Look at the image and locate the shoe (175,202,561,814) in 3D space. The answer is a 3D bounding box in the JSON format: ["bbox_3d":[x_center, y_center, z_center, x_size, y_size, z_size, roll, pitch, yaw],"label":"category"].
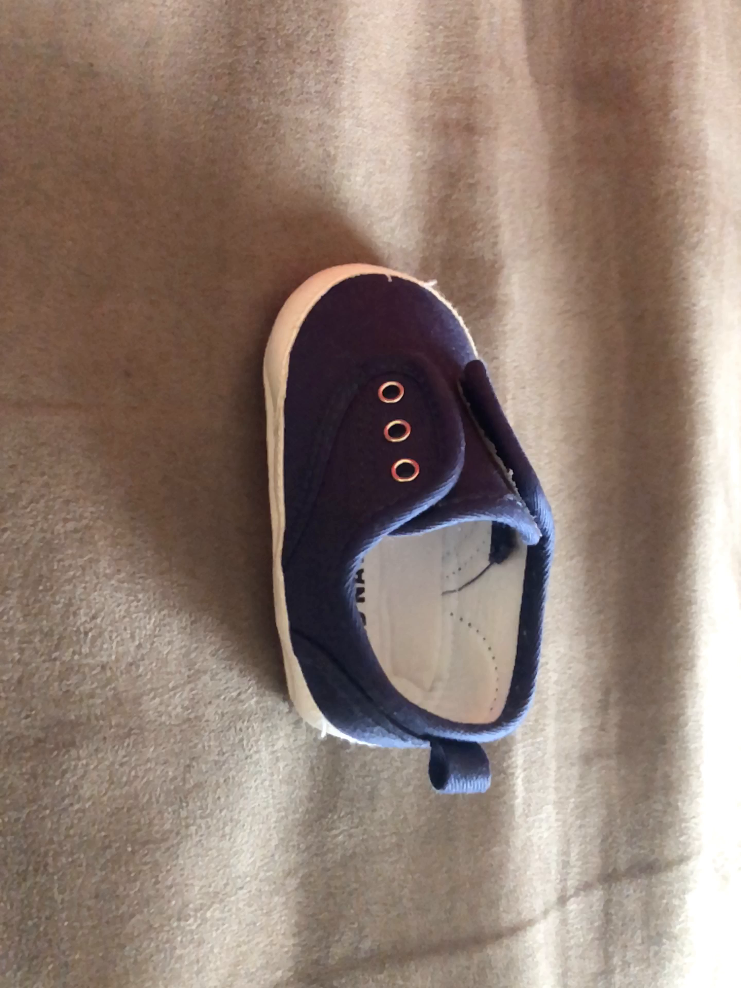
[{"bbox_3d":[-0.003,0.004,0.190,0.060,0.060,0.110,4,89,-29],"label":"shoe"}]
